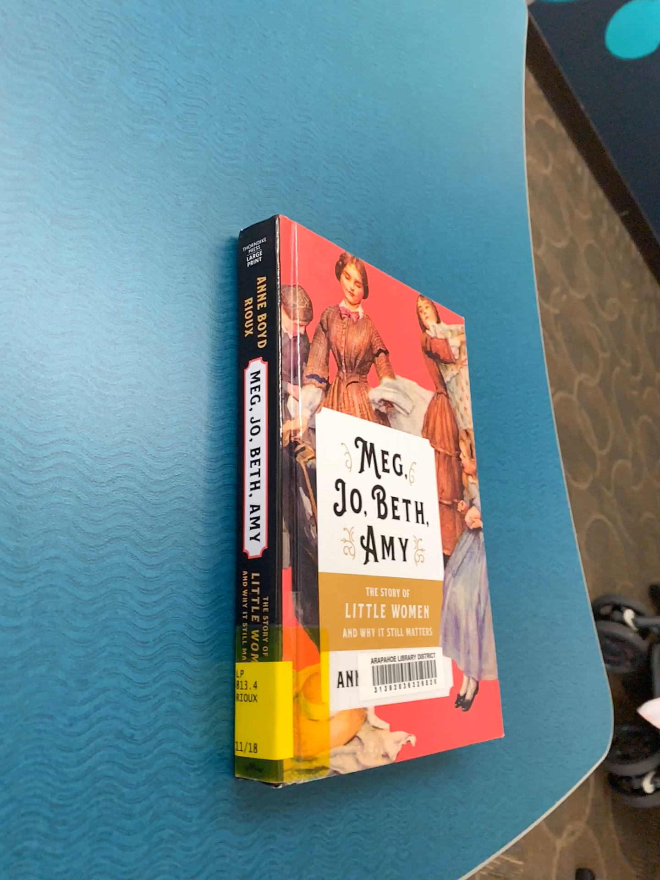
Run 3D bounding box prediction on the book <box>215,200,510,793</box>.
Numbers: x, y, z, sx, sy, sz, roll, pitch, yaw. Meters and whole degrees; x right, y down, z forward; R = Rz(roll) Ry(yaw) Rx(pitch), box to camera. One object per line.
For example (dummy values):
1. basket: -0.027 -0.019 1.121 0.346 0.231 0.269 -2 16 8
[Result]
1. book: 0.019 0.025 0.312 0.141 0.040 0.220 14 68 -45
